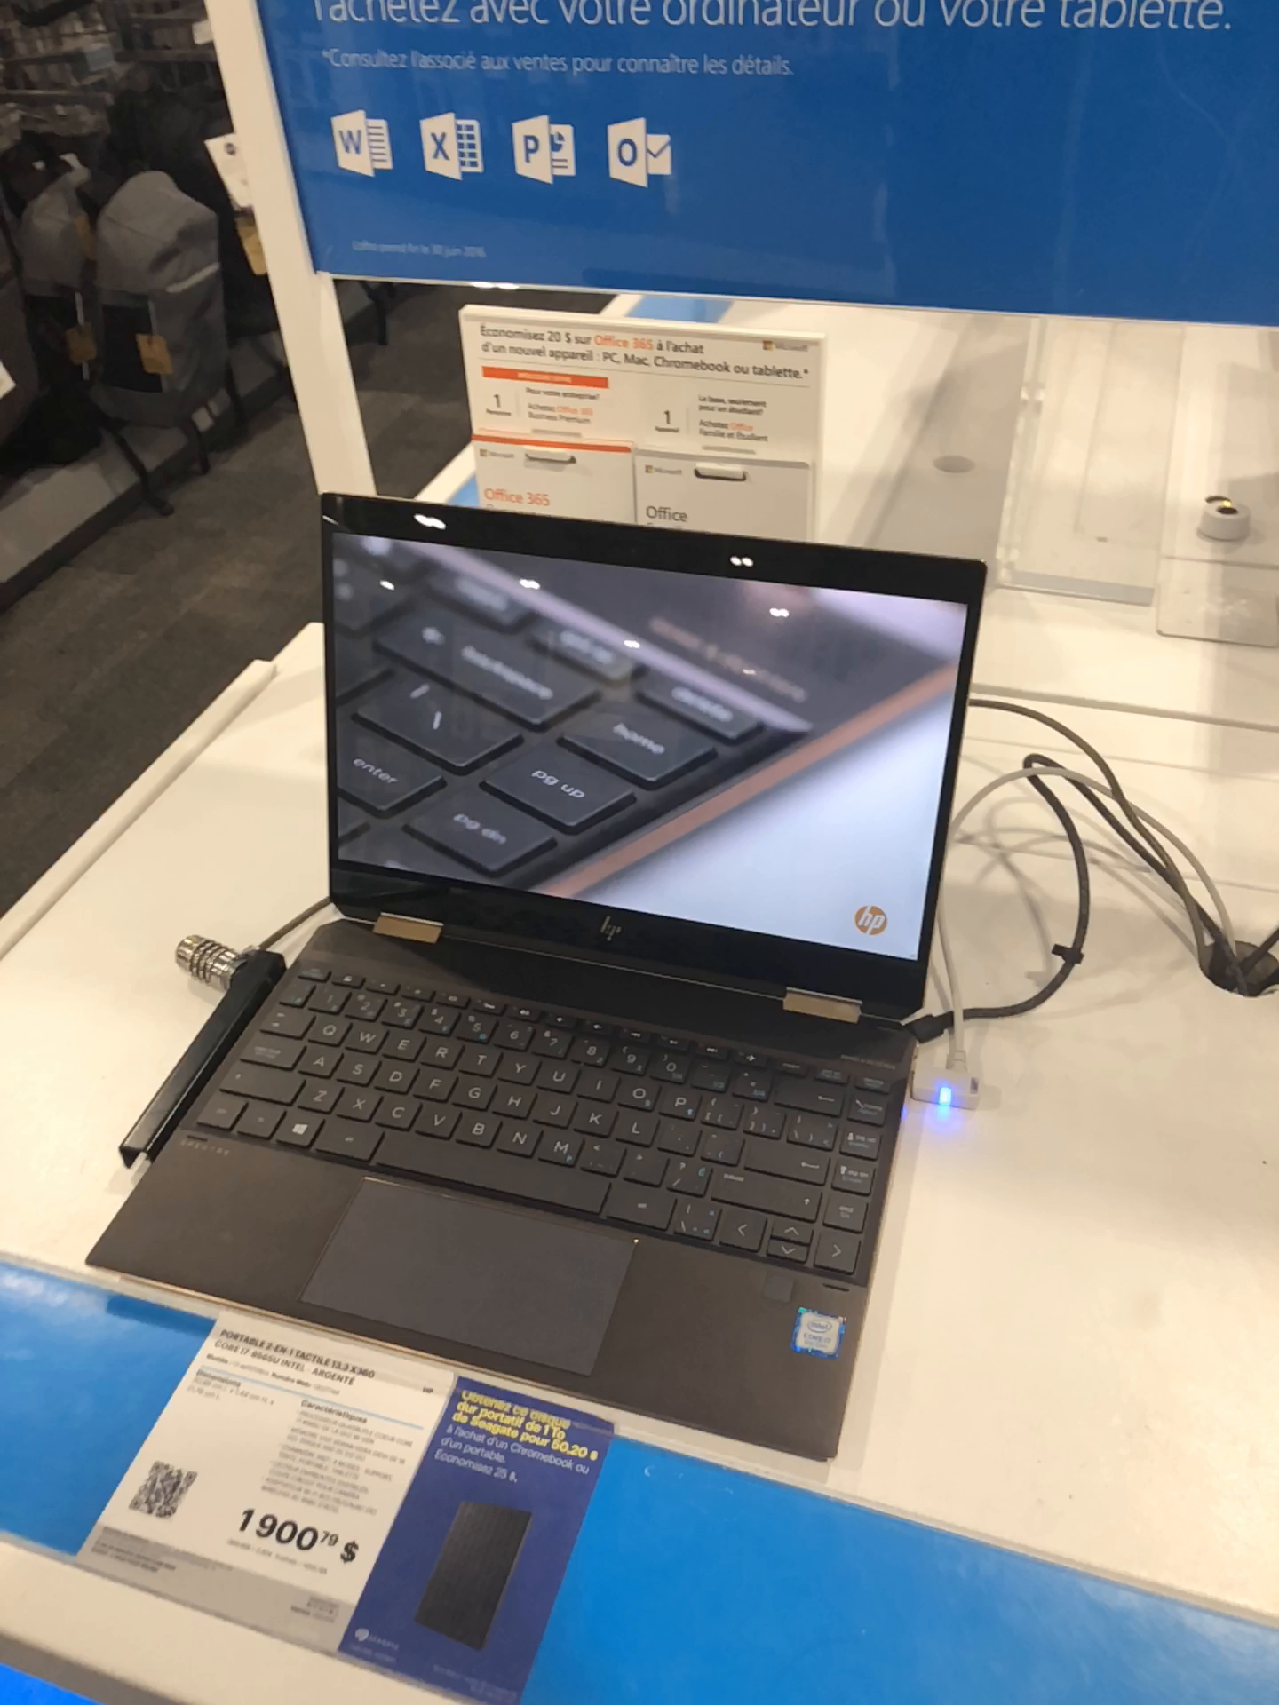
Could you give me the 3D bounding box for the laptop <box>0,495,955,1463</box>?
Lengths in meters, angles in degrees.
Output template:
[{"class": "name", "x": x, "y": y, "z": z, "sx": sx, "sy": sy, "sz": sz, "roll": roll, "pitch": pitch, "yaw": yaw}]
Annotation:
[{"class": "laptop", "x": -0.044, "y": 0.023, "z": 0.574, "sx": 0.297, "sy": 0.197, "sz": 0.285, "roll": 9, "pitch": 40, "yaw": 14}]
